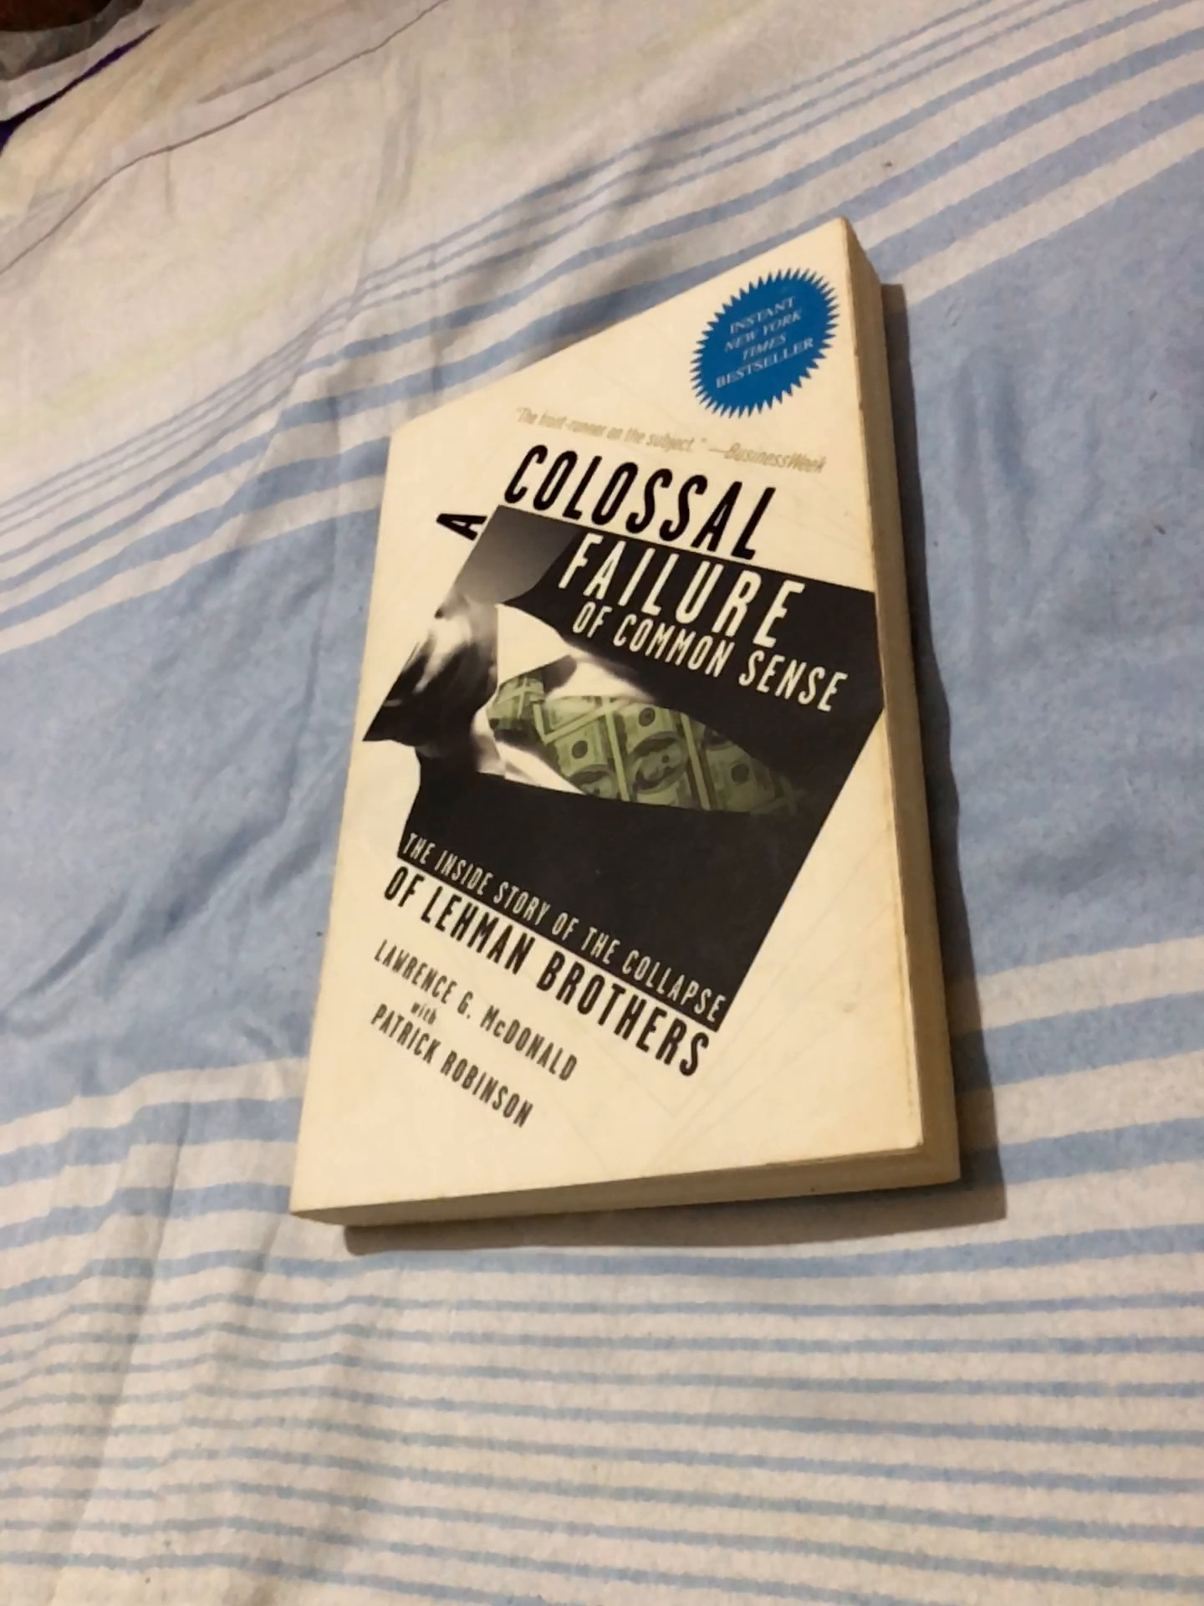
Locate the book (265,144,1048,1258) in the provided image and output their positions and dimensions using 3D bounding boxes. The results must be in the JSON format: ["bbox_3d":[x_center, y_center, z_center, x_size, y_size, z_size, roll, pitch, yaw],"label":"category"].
[{"bbox_3d":[0.006,-0.023,0.293,0.140,0.040,0.220,-14,60,28],"label":"book"}]
